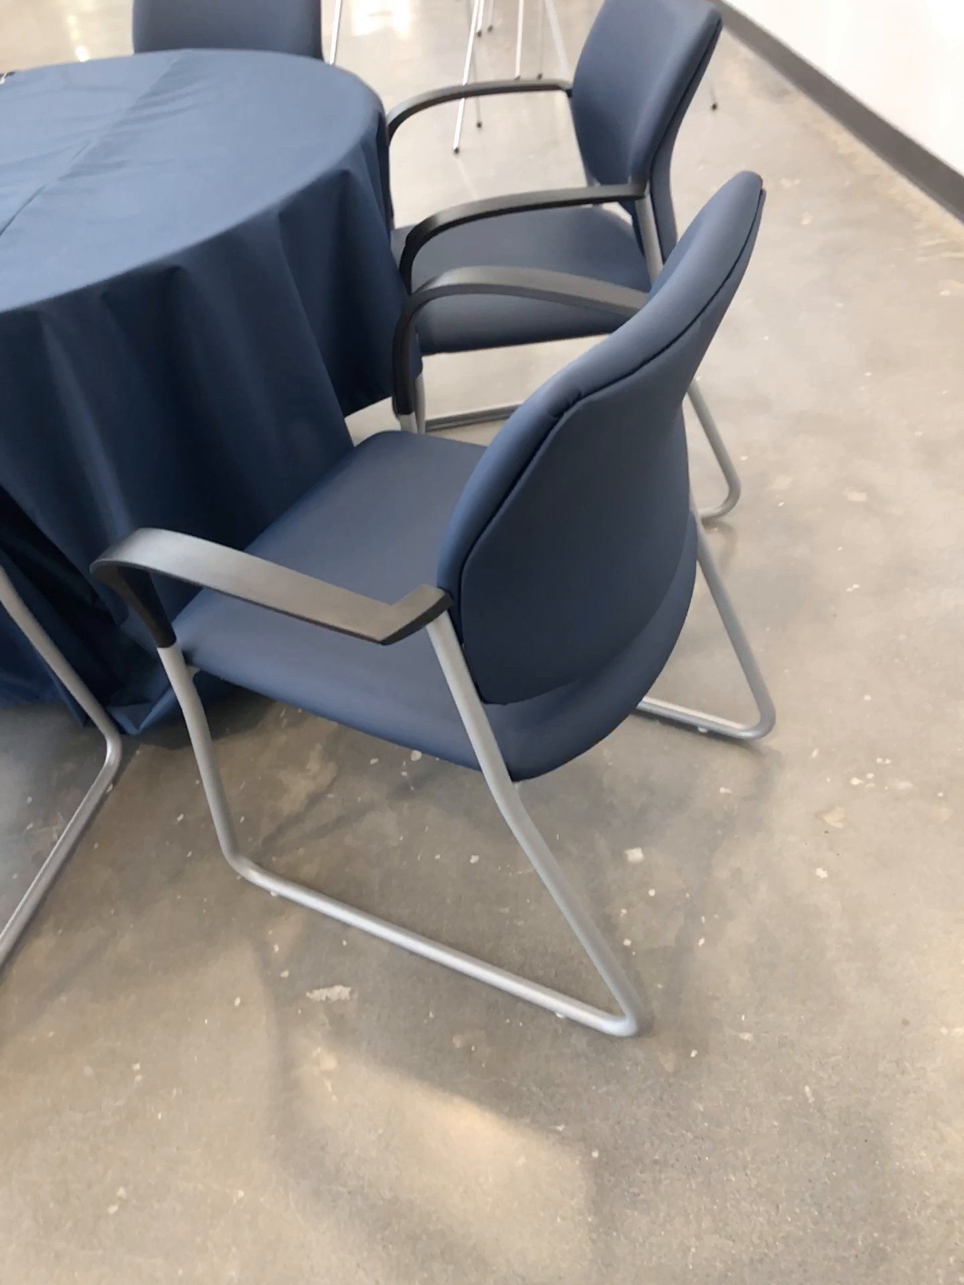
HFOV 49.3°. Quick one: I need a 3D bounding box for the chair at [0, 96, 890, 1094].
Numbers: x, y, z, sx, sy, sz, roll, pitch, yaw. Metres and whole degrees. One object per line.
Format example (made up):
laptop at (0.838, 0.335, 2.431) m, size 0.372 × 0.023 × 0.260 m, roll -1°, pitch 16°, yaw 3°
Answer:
chair at (-0.013, -0.092, 1.185) m, size 0.672 × 0.764 × 0.643 m, roll 15°, pitch 48°, yaw 25°
